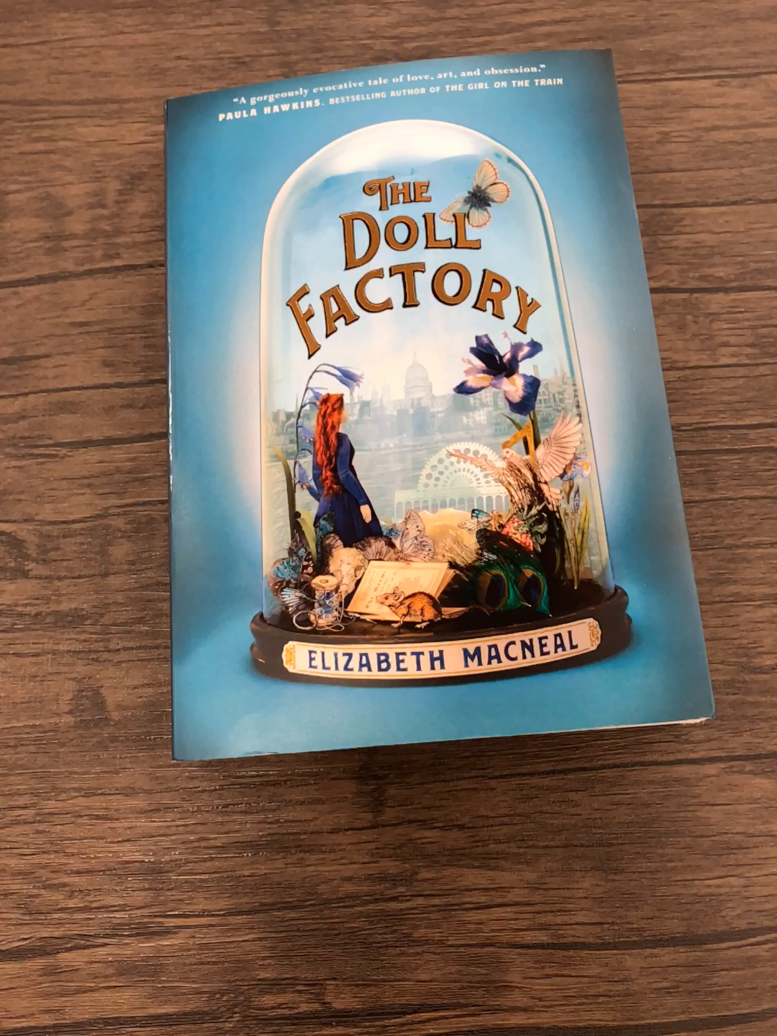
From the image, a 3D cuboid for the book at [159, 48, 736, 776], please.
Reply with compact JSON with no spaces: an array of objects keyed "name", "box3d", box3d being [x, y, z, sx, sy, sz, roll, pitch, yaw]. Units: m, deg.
[{"name":"book","box3d":[0.010,-0.040,0.293,0.160,0.040,0.230,-5,77,0]}]
